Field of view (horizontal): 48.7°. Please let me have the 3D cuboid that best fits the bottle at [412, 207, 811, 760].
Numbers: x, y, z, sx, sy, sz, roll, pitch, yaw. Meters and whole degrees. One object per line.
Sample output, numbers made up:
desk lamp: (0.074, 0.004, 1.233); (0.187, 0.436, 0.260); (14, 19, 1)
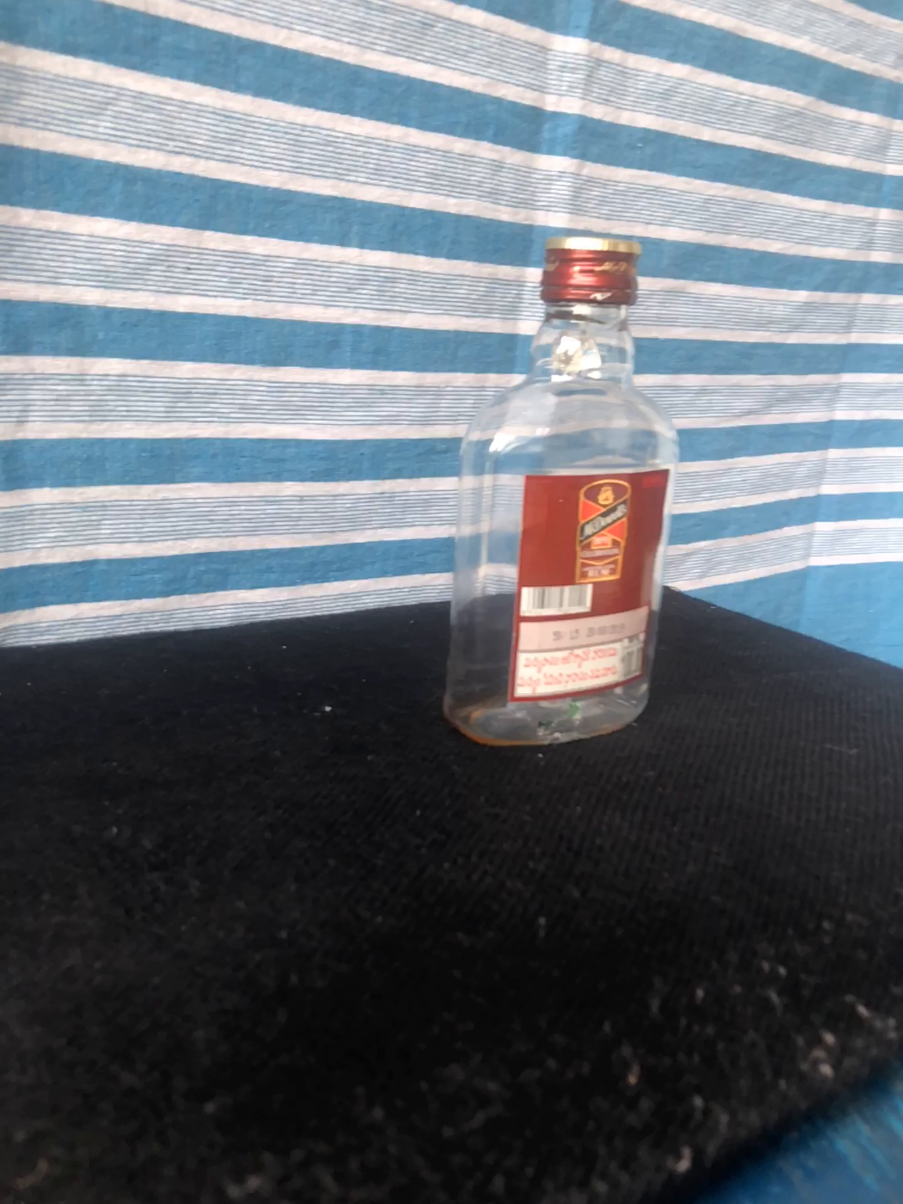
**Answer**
bottle: (0.041, -0.031, 0.269); (0.080, 0.129, 0.040); (-4, 20, -34)
